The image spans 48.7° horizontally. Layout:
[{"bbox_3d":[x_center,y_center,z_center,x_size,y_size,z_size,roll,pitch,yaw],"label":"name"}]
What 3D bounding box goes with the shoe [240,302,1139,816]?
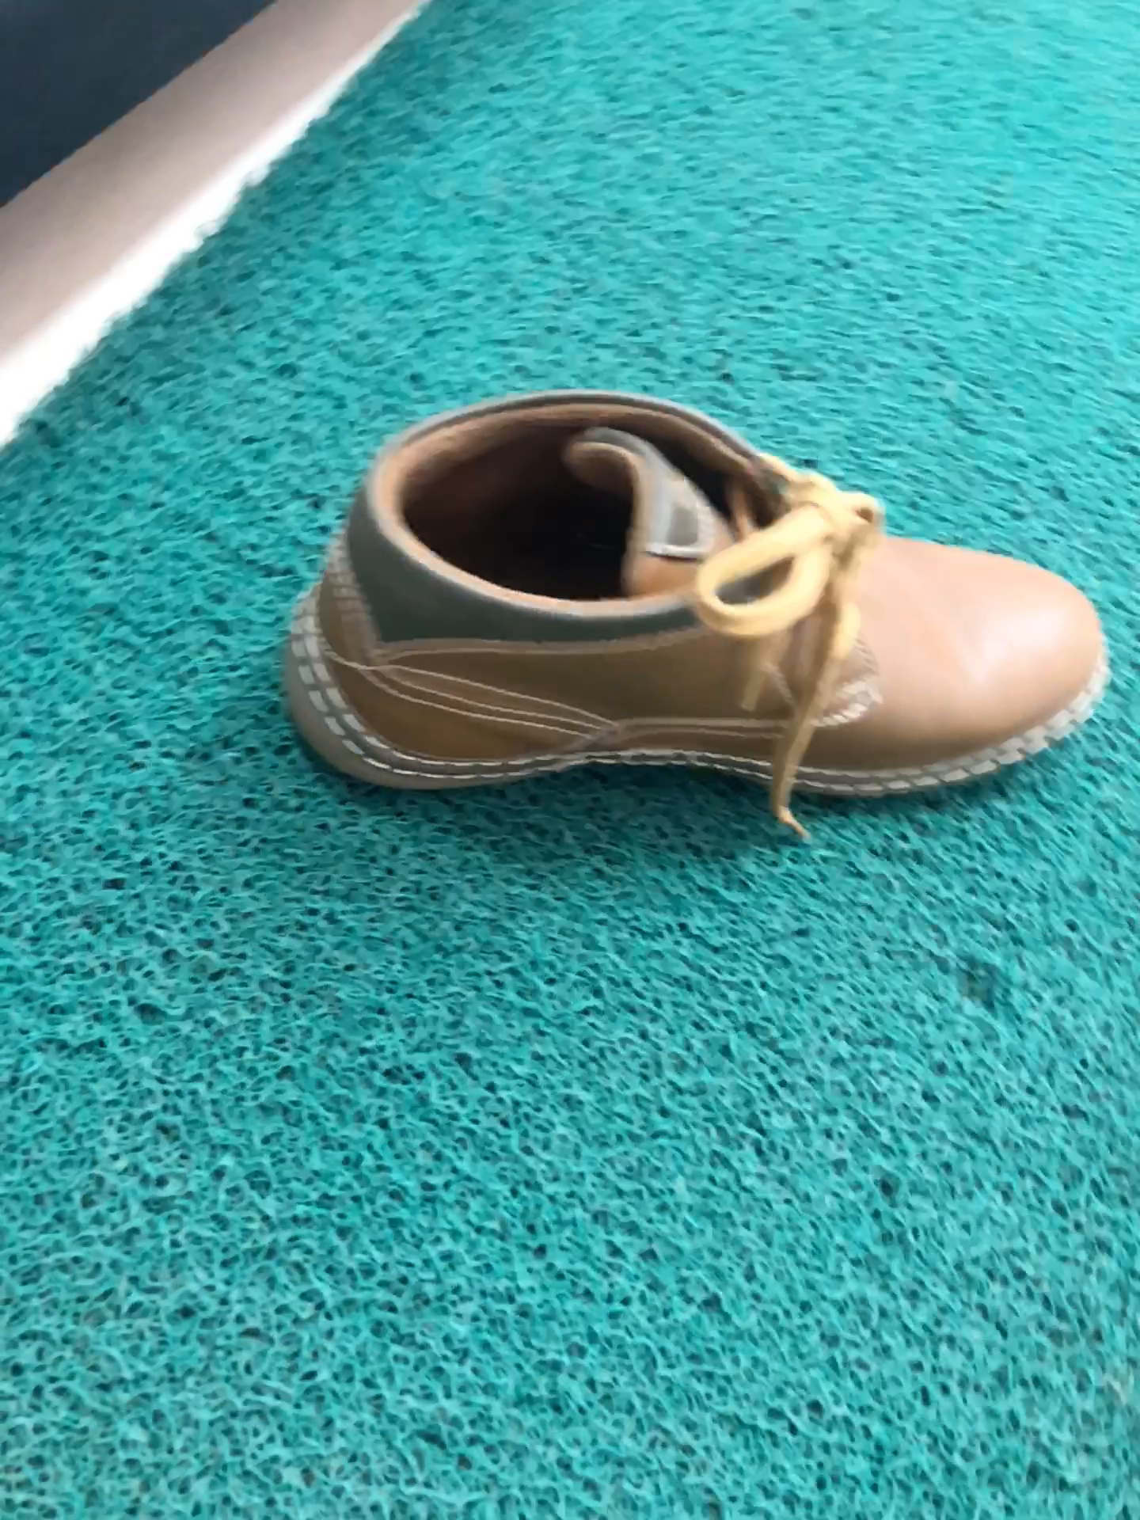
[{"bbox_3d":[0.053,-0.049,0.362,0.281,0.080,0.100,2,61,-13],"label":"shoe"}]
